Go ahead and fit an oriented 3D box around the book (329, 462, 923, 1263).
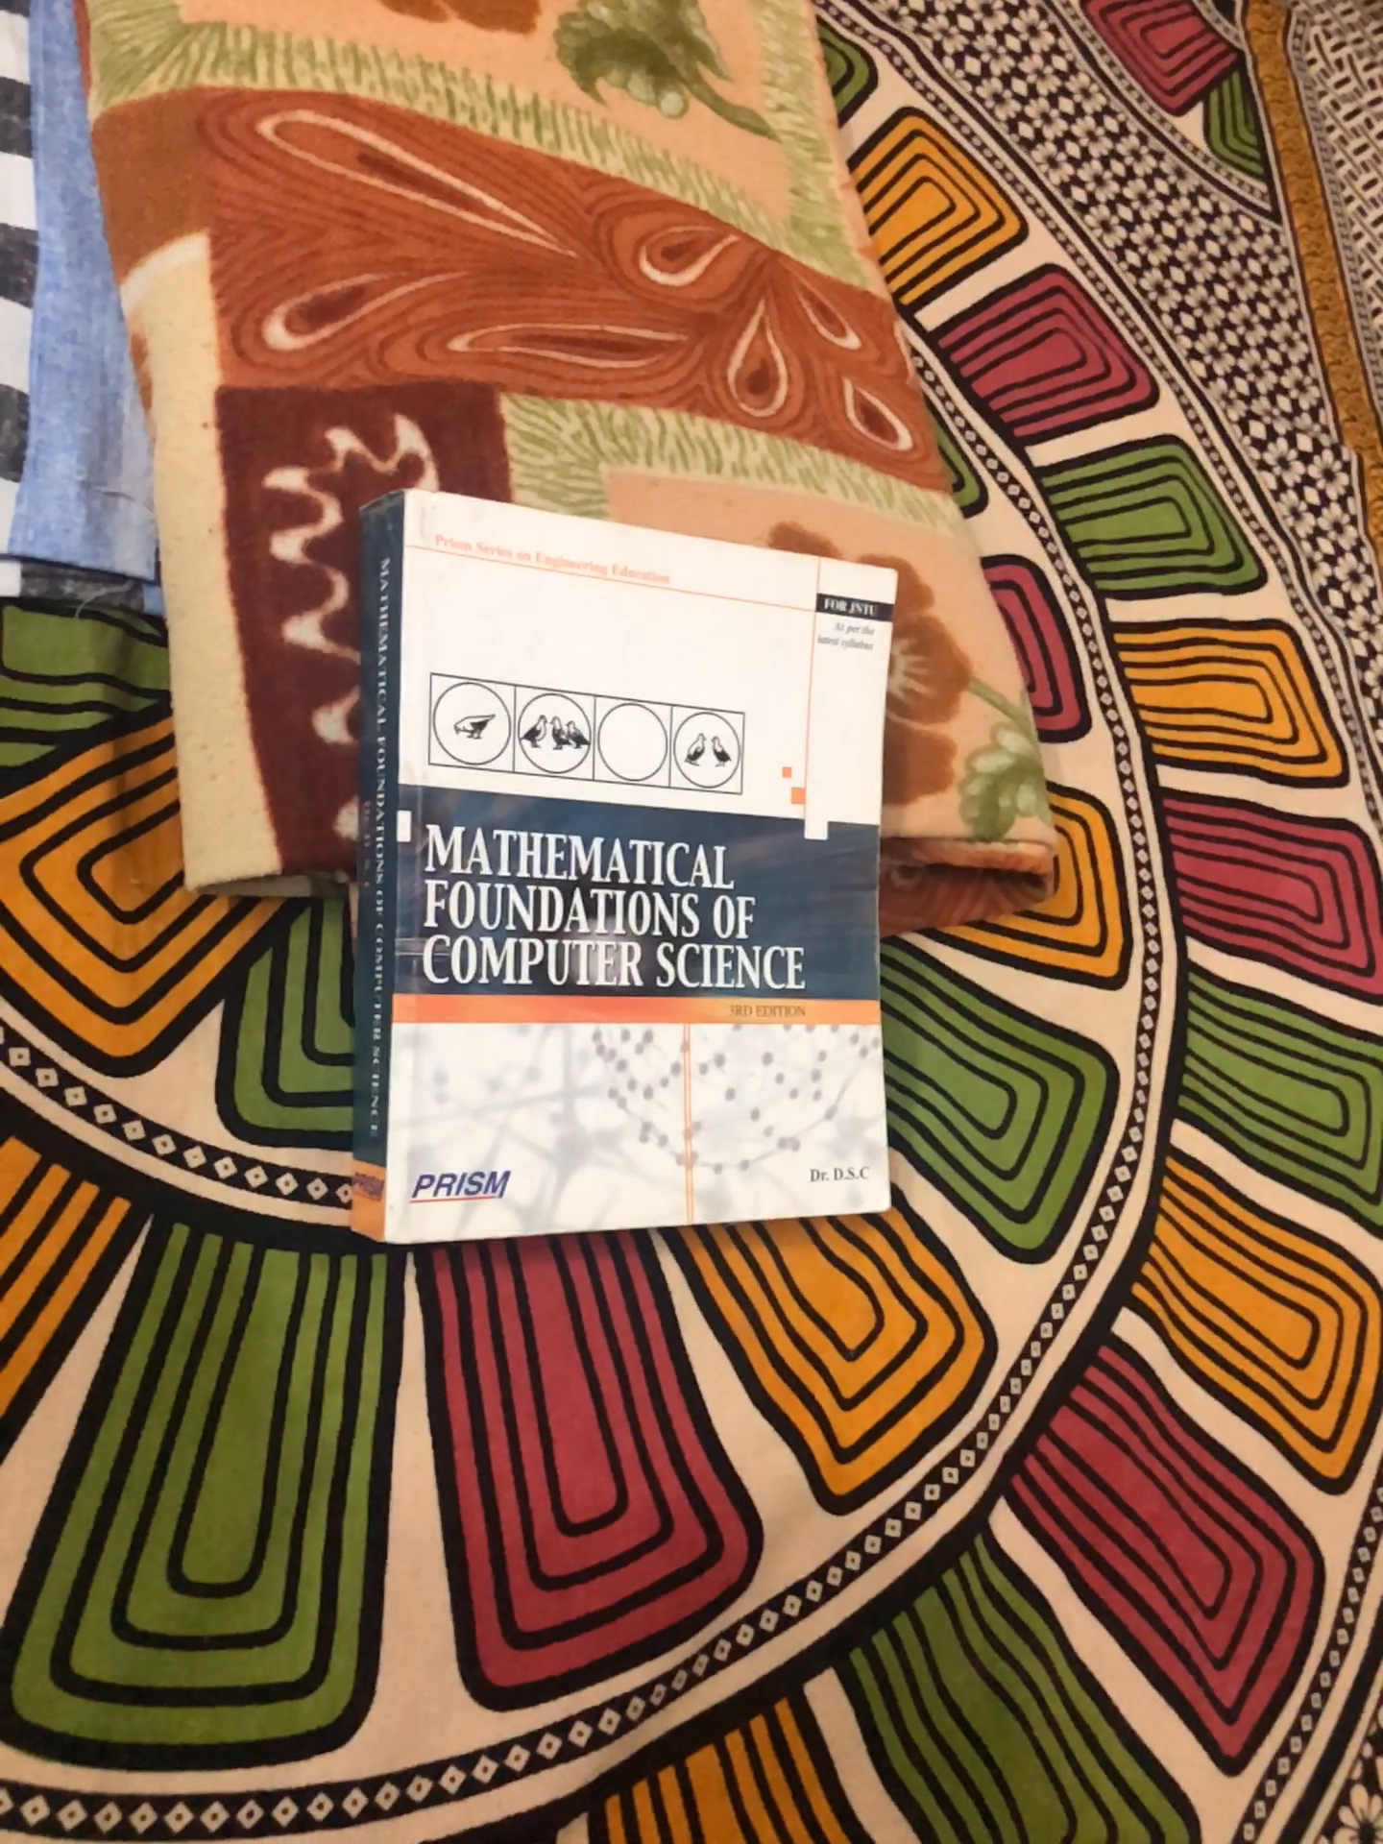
[{"bbox_3d":[-0.021,-0.016,0.523,0.191,0.060,0.240,1,84,-27],"label":"book"}]
